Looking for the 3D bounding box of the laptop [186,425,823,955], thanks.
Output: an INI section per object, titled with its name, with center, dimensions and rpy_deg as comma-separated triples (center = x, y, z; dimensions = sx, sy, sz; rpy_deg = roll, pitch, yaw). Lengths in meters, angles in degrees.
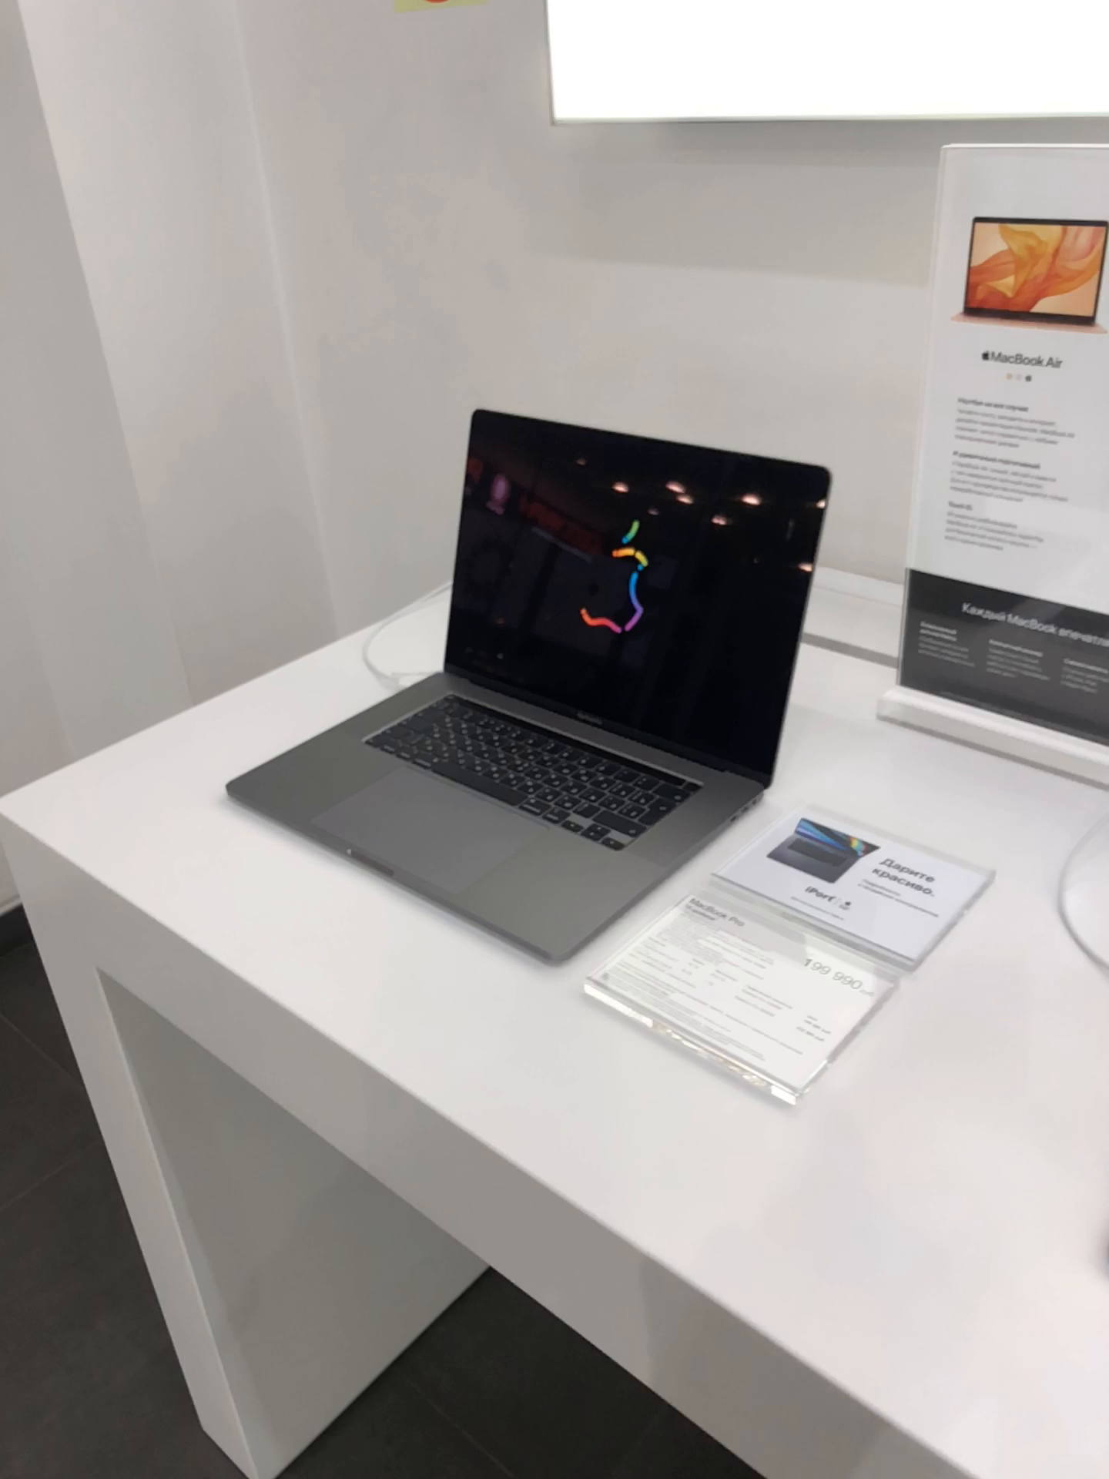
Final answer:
[laptop]
center = -0.028, -0.068, 0.905
dimensions = 0.328, 0.209, 0.310
rpy_deg = 19, 38, 36
